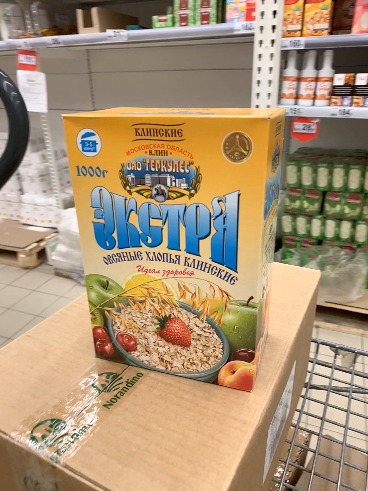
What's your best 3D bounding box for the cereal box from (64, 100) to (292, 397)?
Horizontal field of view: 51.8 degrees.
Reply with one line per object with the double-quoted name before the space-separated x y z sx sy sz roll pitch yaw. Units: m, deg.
"cereal box" 0.003 -0.005 0.353 0.160 0.239 0.100 7 25 17
